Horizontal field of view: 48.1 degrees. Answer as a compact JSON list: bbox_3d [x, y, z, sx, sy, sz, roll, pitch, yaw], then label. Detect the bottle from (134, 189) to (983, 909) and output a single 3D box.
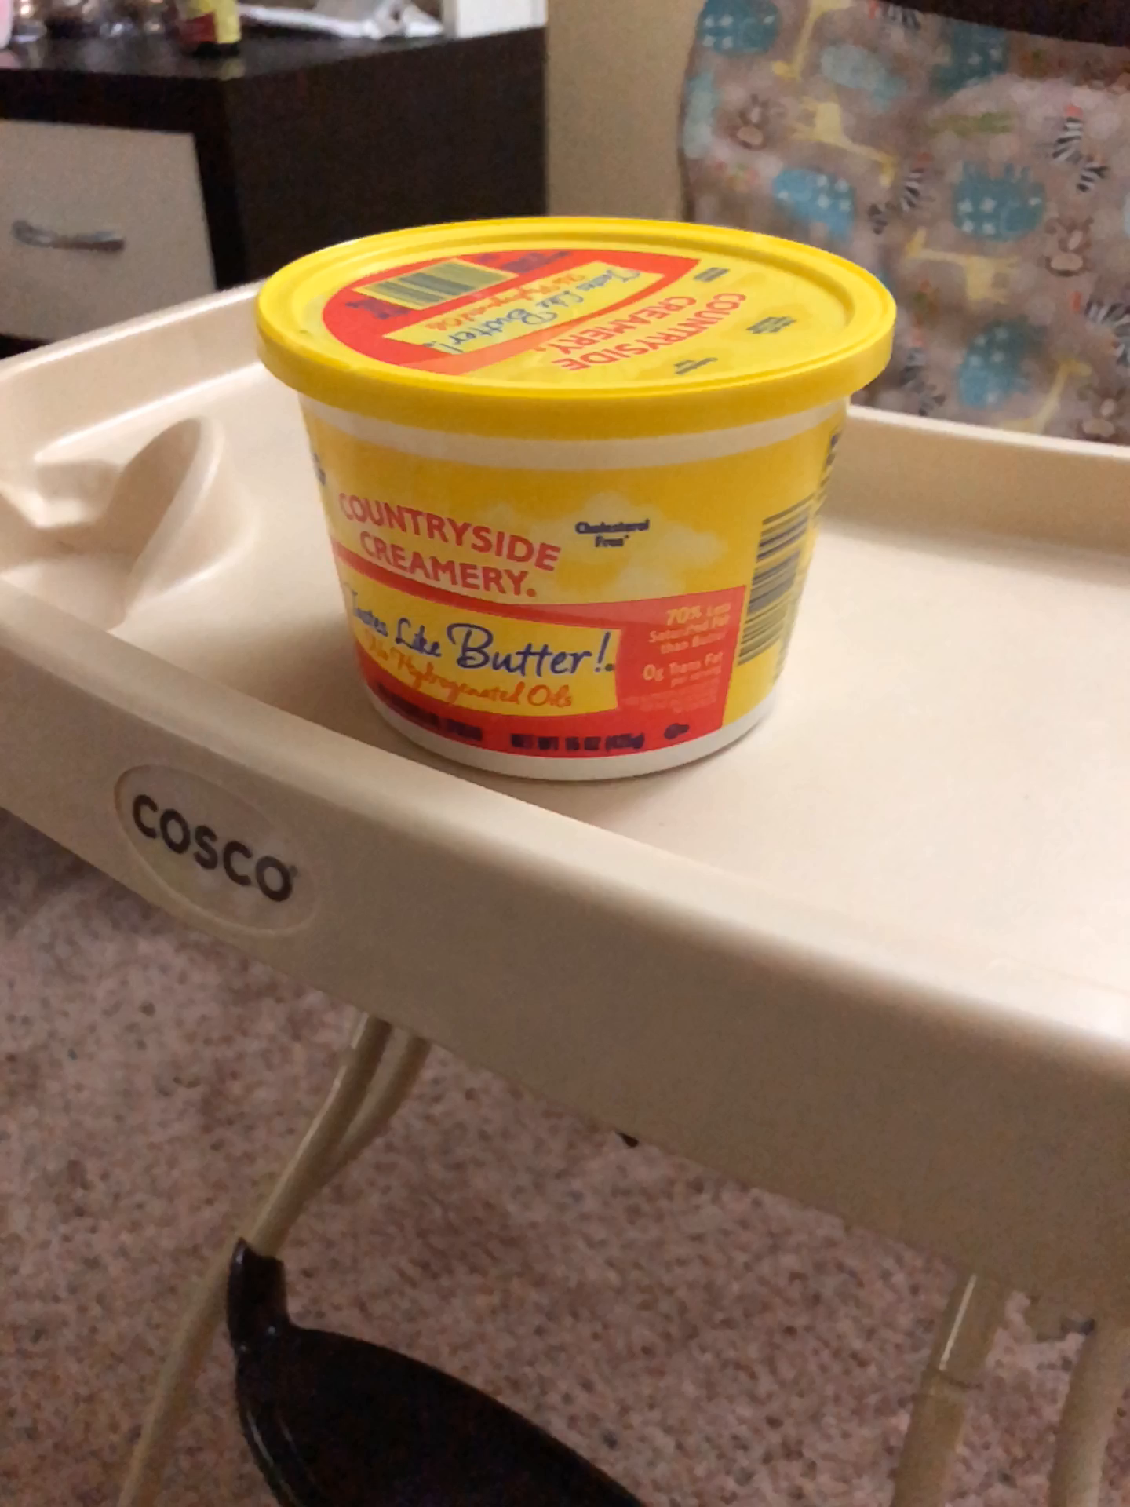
[{"bbox_3d":[0.001,-0.055,0.267,0.120,0.090,0.110,0,35,0],"label":"bottle"}]
